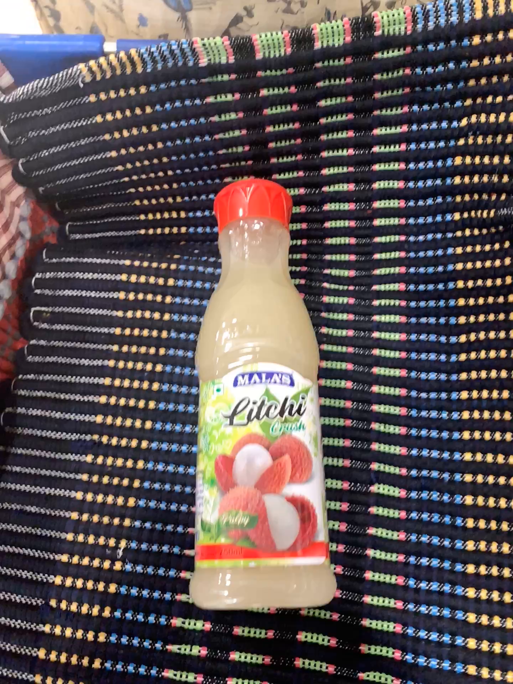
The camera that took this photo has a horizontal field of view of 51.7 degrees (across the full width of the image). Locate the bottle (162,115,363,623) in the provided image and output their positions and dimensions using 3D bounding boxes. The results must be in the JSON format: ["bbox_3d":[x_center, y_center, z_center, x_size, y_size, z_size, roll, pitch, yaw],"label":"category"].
[{"bbox_3d":[0.000,0.005,0.296,0.080,0.080,0.260,-1,69,-1],"label":"bottle"}]
